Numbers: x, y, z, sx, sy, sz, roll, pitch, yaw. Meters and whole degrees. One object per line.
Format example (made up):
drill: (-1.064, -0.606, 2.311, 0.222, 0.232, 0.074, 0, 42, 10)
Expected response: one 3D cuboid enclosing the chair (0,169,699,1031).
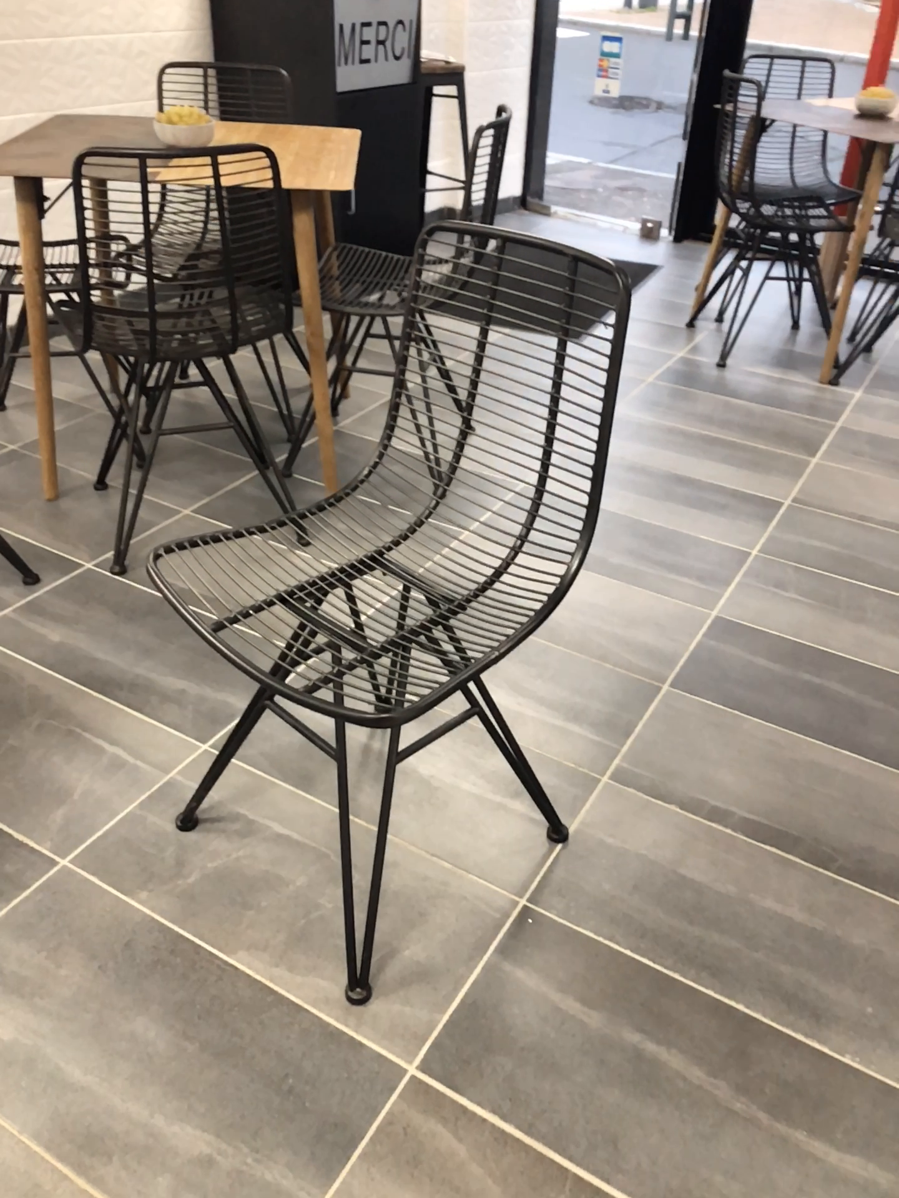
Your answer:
chair: (-0.118, -0.038, 1.202, 0.501, 0.785, 0.523, 30, 42, 35)
